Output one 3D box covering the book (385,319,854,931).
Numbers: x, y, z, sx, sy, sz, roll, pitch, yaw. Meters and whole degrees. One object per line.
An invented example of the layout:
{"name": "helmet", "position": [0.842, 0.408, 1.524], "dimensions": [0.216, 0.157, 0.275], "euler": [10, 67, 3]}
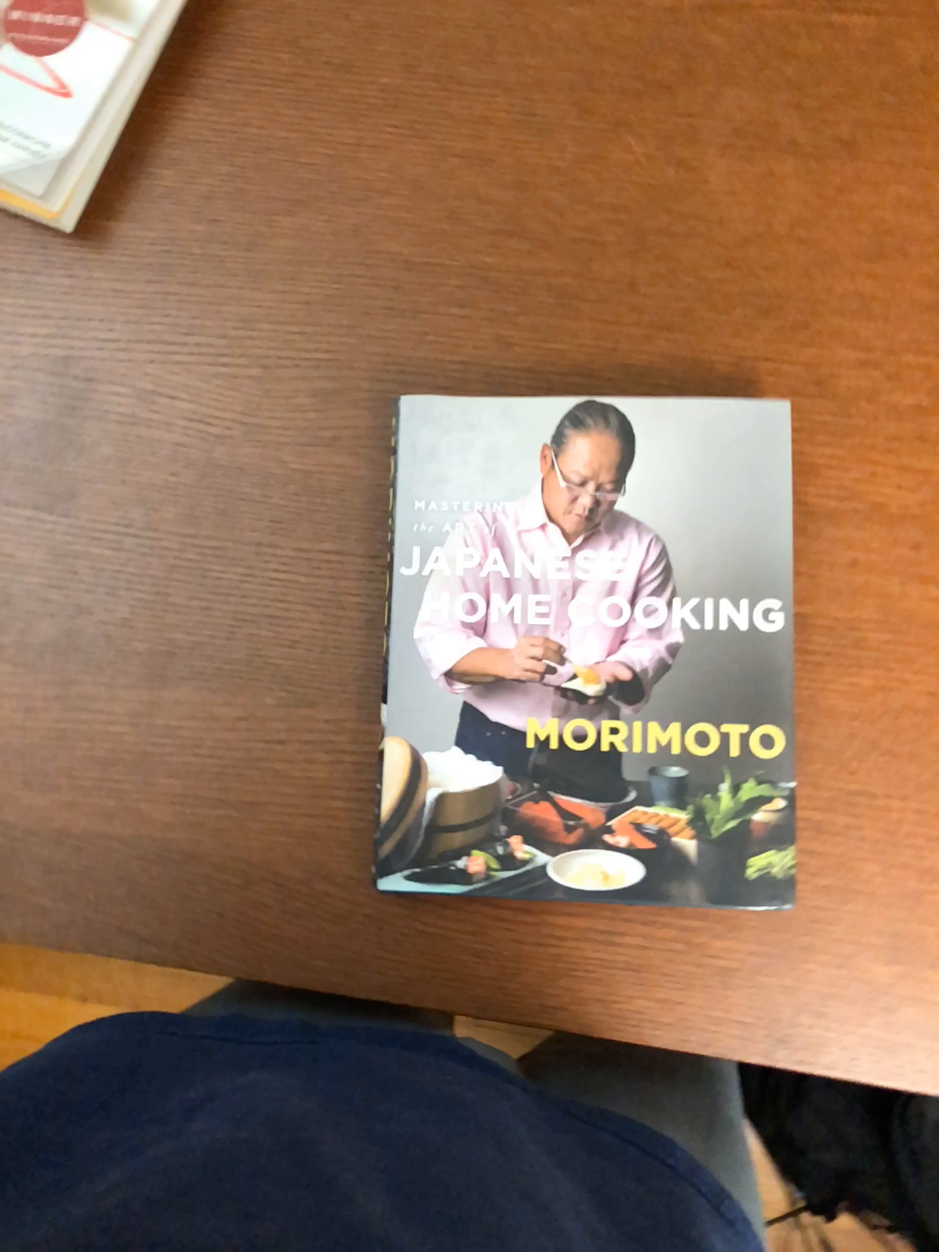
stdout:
{"name": "book", "position": [0.076, -0.007, 0.529], "dimensions": [0.220, 0.030, 0.300], "euler": [2, 81, 4]}
